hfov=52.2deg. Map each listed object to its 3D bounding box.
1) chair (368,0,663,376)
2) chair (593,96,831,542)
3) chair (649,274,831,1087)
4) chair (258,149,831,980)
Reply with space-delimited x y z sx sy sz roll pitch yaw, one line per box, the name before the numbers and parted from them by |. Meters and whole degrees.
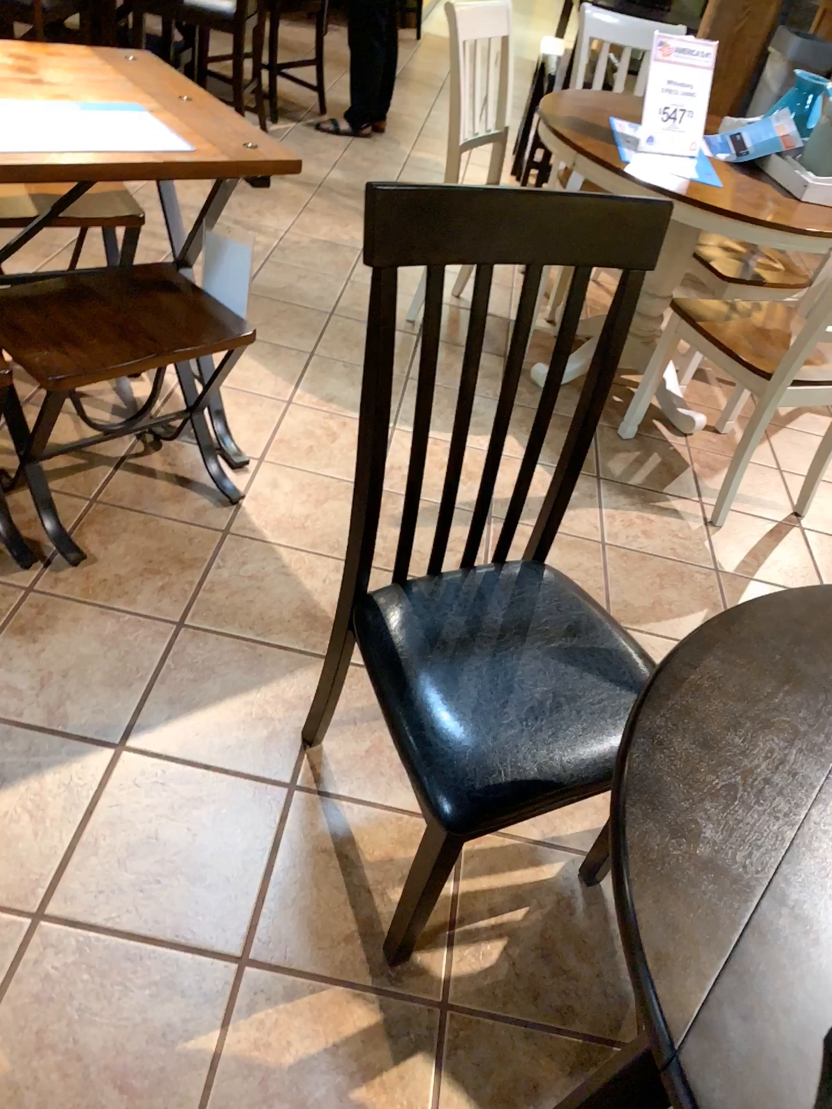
chair | 0.265 -1.116 2.571 0.542 0.903 0.416 29 41 15
chair | 0.931 -0.572 2.163 0.465 0.893 0.543 -7 45 -25
chair | 0.745 0.199 1.171 0.384 0.933 0.544 27 41 14
chair | 0.123 0.038 1.176 0.455 0.923 0.563 -9 45 -26
